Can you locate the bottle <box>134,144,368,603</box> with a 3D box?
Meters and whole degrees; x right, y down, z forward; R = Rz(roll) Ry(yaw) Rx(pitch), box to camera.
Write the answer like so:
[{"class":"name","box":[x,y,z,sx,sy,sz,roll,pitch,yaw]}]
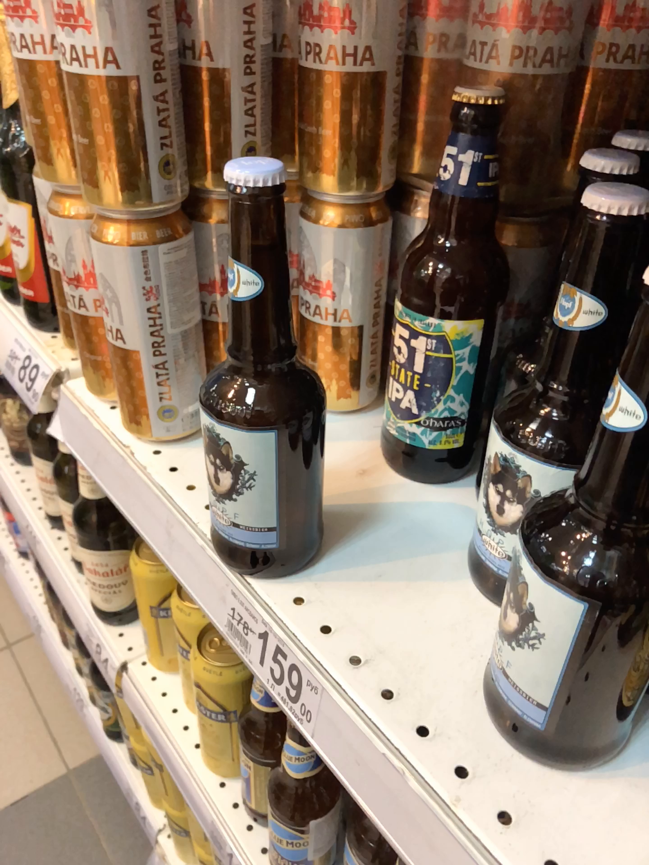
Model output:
[{"class":"bottle","box":[-0.037,-0.026,0.382,0.070,0.219,0.080,-26,43,-35]}]
